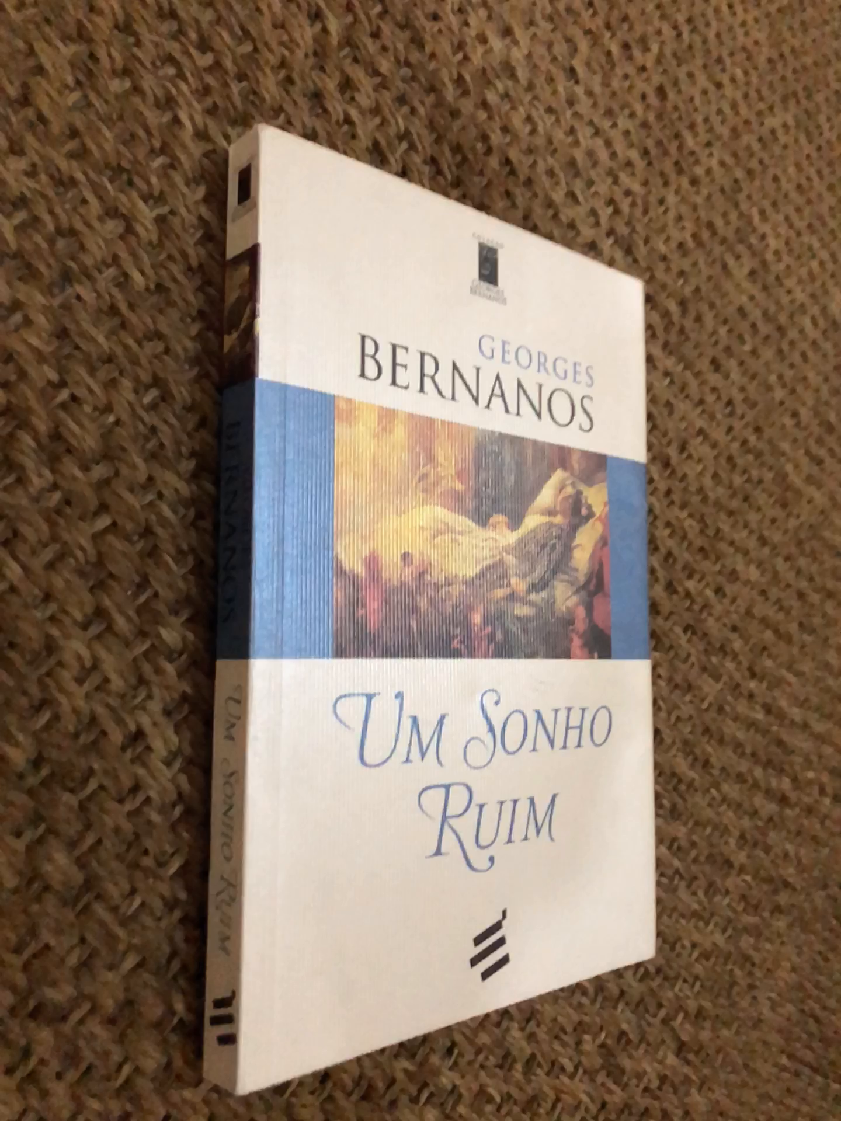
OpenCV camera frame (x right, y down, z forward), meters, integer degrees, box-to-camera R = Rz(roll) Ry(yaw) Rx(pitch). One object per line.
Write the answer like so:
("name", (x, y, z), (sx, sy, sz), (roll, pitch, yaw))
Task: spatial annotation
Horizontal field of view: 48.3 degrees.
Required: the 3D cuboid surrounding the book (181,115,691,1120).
("book", (0.013, 0.015, 0.230), (0.141, 0.020, 0.199), (5, 82, -40))
